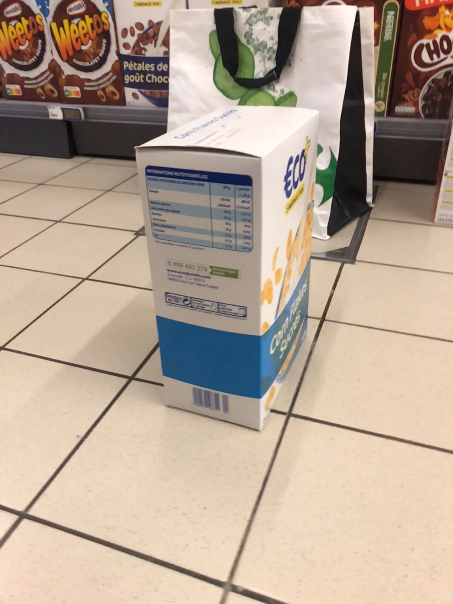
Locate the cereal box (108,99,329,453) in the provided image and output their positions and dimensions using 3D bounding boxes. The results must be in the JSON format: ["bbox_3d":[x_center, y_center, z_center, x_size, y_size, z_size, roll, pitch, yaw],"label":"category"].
[{"bbox_3d":[0.013,-0.039,0.530,0.130,0.298,0.212,10,32,21],"label":"cereal box"}]

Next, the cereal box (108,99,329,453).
[{"bbox_3d":[0.013,-0.039,0.530,0.130,0.298,0.212,10,32,21],"label":"cereal box"}]
